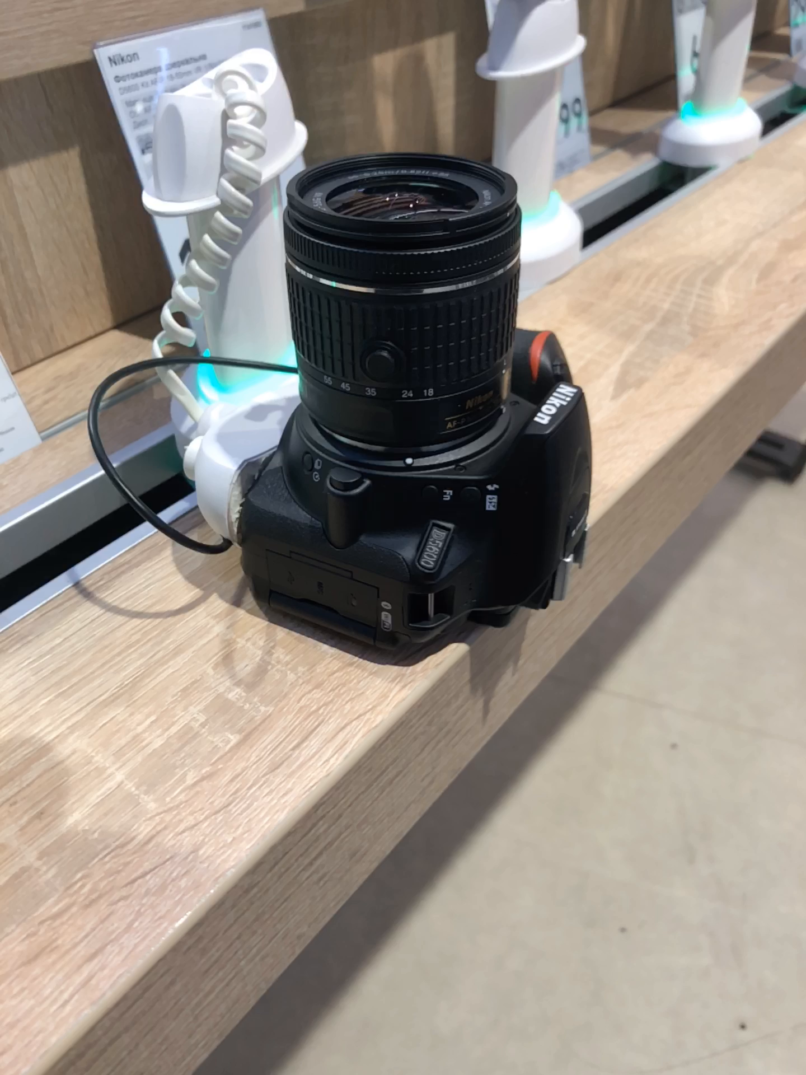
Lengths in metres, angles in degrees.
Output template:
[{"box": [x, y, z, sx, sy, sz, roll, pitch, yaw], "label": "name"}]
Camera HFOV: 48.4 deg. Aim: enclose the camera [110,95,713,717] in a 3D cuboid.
[{"box": [0.012, -0.050, 0.275, 0.115, 0.117, 0.133, 16, 43, 19], "label": "camera"}]
